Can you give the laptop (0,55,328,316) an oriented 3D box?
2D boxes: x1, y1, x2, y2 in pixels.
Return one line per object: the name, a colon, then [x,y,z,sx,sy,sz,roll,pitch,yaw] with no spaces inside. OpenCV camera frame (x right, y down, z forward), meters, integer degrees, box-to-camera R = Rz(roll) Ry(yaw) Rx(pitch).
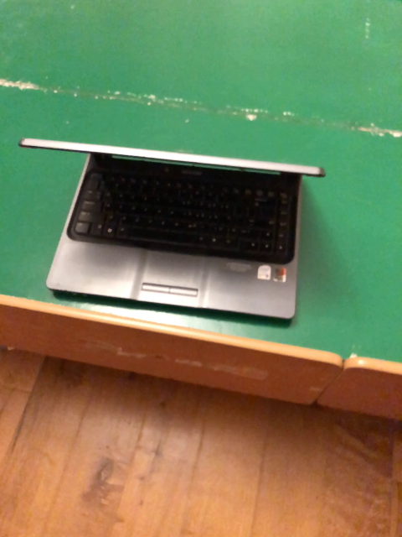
laptop: [-0.025,-0.098,0.551,0.316,0.171,0.227,7,63,4]
